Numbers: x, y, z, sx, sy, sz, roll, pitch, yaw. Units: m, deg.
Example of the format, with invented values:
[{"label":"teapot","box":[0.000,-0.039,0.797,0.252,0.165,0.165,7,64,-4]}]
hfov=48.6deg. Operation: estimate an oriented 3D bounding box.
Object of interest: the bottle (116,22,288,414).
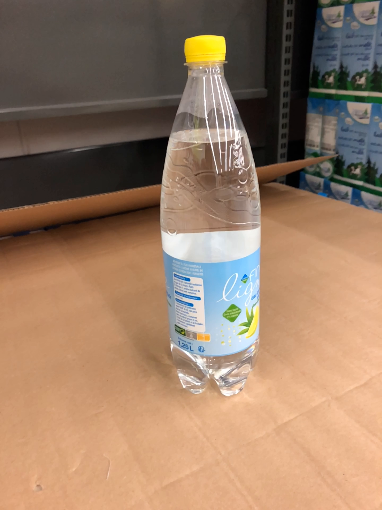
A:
[{"label":"bottle","box":[0.015,-0.023,0.349,0.080,0.288,0.090,16,30,35]}]
